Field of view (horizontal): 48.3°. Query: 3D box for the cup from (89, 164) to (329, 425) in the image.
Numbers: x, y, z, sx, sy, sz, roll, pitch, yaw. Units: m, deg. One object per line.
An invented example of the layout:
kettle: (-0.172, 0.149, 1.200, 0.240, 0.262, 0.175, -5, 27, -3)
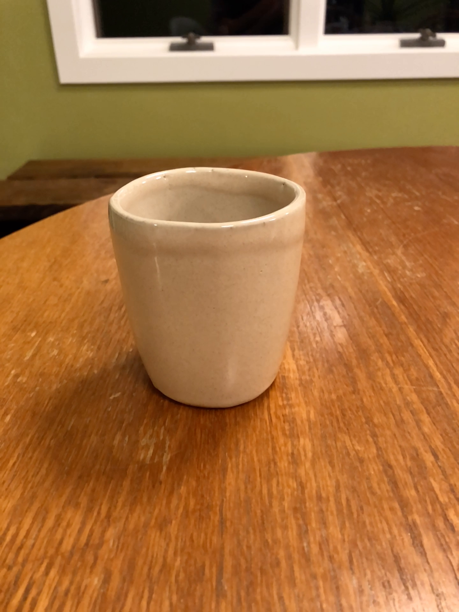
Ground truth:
cup: (-0.010, -0.010, 0.235, 0.084, 0.086, 0.083, -1, 29, 0)
